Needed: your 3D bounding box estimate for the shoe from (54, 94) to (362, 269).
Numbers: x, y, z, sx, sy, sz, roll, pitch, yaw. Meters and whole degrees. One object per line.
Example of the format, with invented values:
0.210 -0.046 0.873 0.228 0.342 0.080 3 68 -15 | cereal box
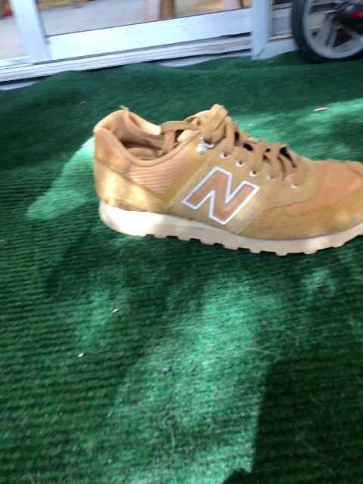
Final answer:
0.043 -0.058 0.349 0.260 0.099 0.111 3 36 15 | shoe
